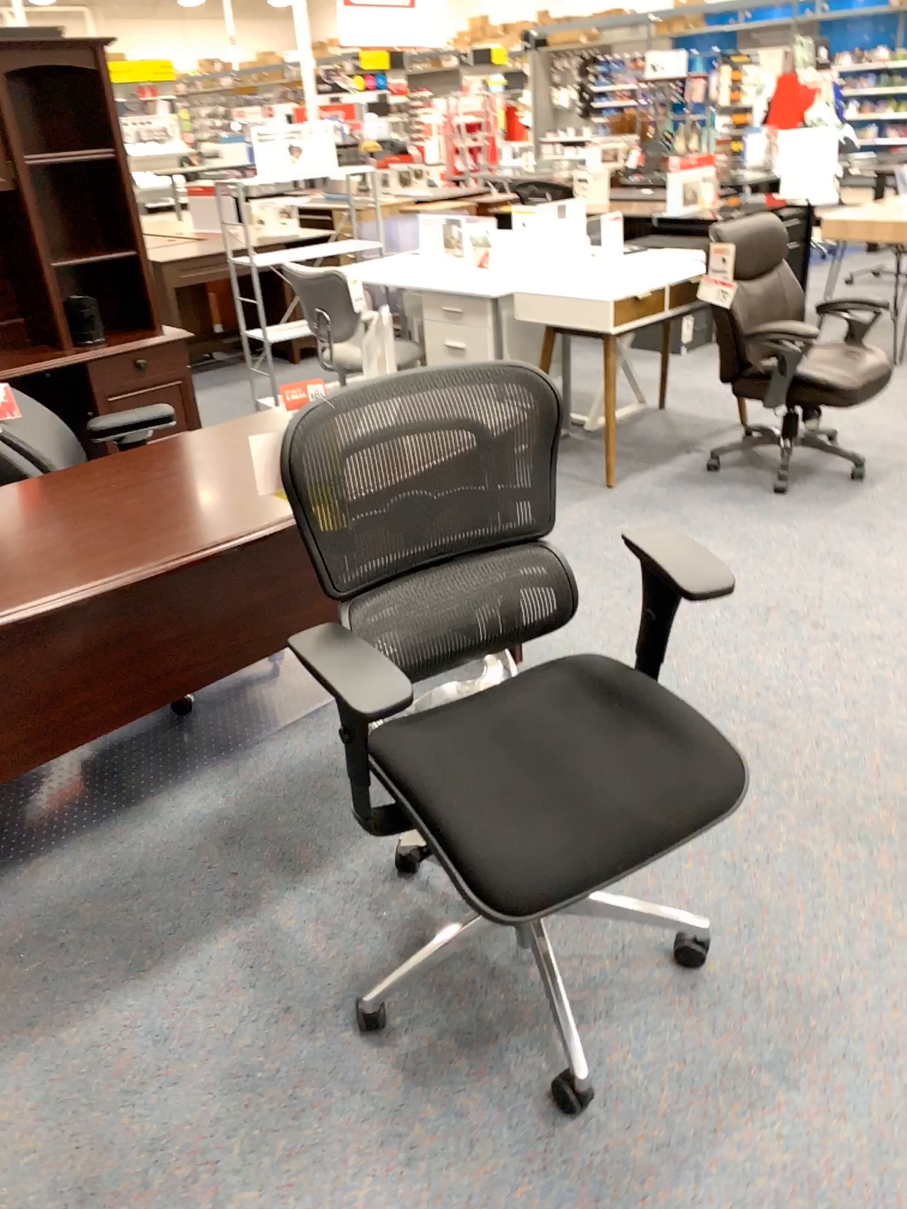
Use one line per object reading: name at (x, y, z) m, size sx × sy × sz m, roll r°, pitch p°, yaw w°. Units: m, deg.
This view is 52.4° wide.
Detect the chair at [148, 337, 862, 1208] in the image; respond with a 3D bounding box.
chair at (0.068, 0.182, 1.484) m, size 0.698 × 0.983 × 0.687 m, roll -21°, pitch 32°, yaw -28°

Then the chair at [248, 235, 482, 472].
chair at (-0.379, -1.159, 4.139) m, size 0.675 × 0.824 × 0.710 m, roll -26°, pitch 35°, yaw -35°

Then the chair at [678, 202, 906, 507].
chair at (1.349, -0.994, 3.522) m, size 0.616 × 0.913 × 0.819 m, roll 18°, pitch 35°, yaw 35°
